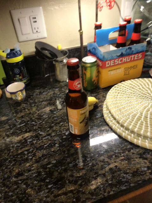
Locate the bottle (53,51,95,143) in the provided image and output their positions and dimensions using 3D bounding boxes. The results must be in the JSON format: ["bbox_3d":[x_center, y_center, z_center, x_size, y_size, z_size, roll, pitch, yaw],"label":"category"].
[{"bbox_3d":[0.001,-0.003,0.384,0.060,0.199,0.060,-3,36,2],"label":"bottle"}]
